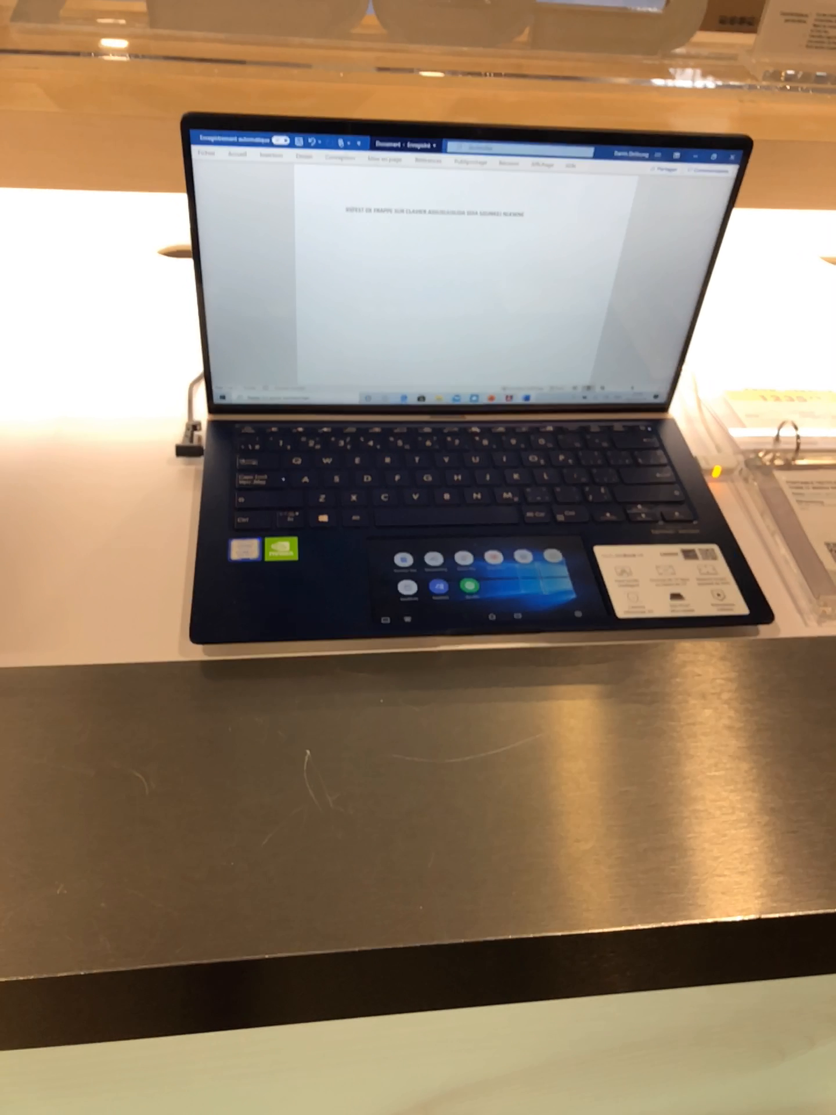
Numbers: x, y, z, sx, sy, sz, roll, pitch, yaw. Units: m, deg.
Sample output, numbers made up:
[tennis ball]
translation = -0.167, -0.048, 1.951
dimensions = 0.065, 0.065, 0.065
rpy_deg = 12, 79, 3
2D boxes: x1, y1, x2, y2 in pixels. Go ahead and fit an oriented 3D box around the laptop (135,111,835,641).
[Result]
[laptop]
translation = 0.036, -0.099, 0.495
dimensions = 0.317, 0.193, 0.200
rpy_deg = -2, 44, -8
